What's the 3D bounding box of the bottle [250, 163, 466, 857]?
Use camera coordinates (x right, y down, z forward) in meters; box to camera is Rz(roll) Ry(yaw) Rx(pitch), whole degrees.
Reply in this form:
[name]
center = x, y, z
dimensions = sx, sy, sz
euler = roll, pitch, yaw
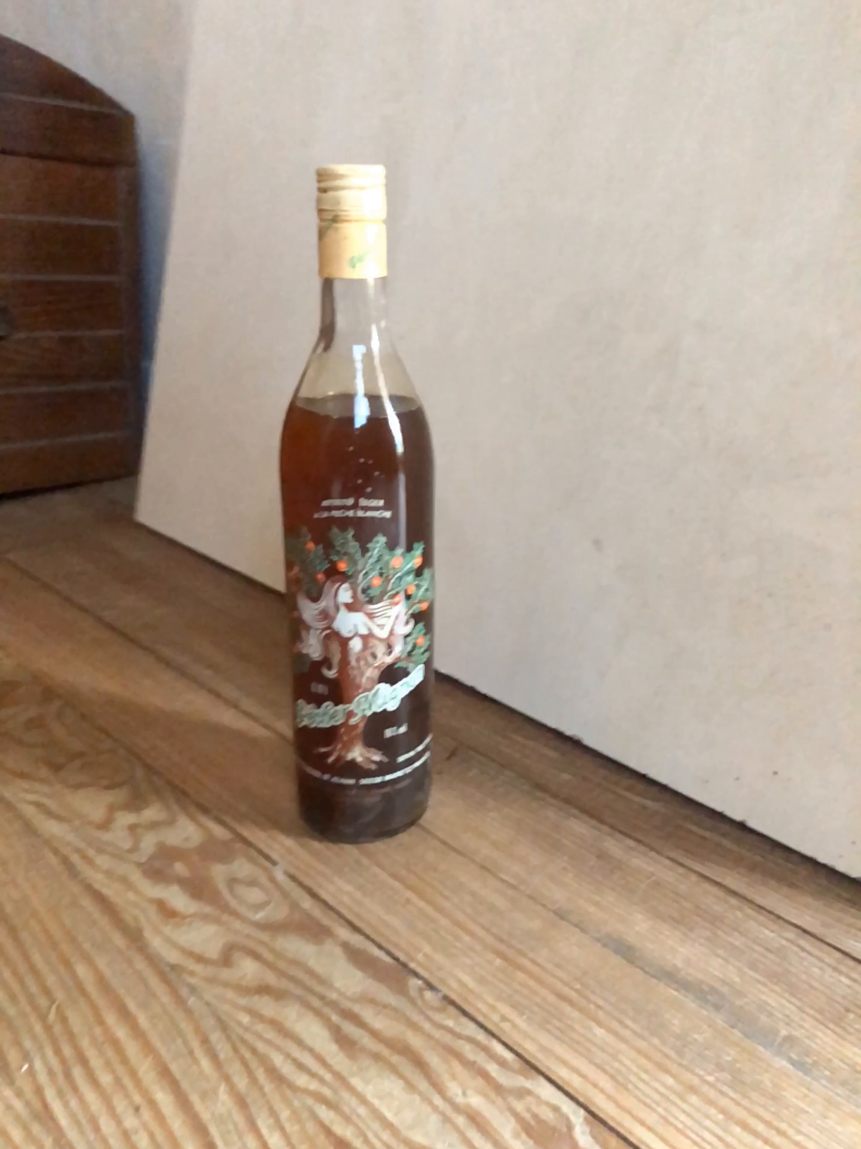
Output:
[bottle]
center = -0.029, -0.019, 0.449
dimensions = 0.080, 0.318, 0.070
euler = 2, 23, 2
